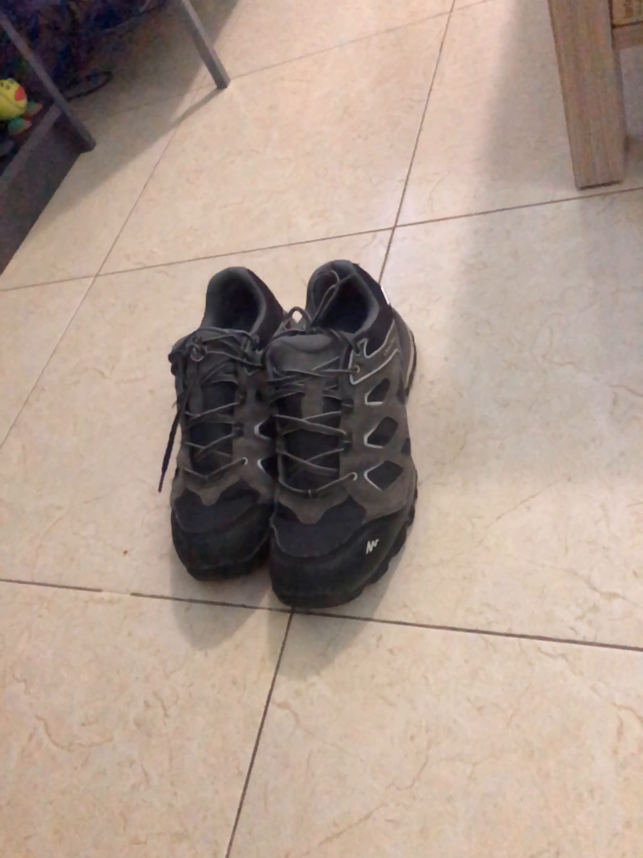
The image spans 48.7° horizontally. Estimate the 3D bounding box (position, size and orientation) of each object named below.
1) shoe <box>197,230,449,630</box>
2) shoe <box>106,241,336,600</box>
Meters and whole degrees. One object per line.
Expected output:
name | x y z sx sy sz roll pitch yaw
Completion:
shoe | 0.019 -0.007 0.591 0.120 0.110 0.311 -4 53 25
shoe | -0.075 -0.015 0.656 0.120 0.110 0.311 -10 51 22
